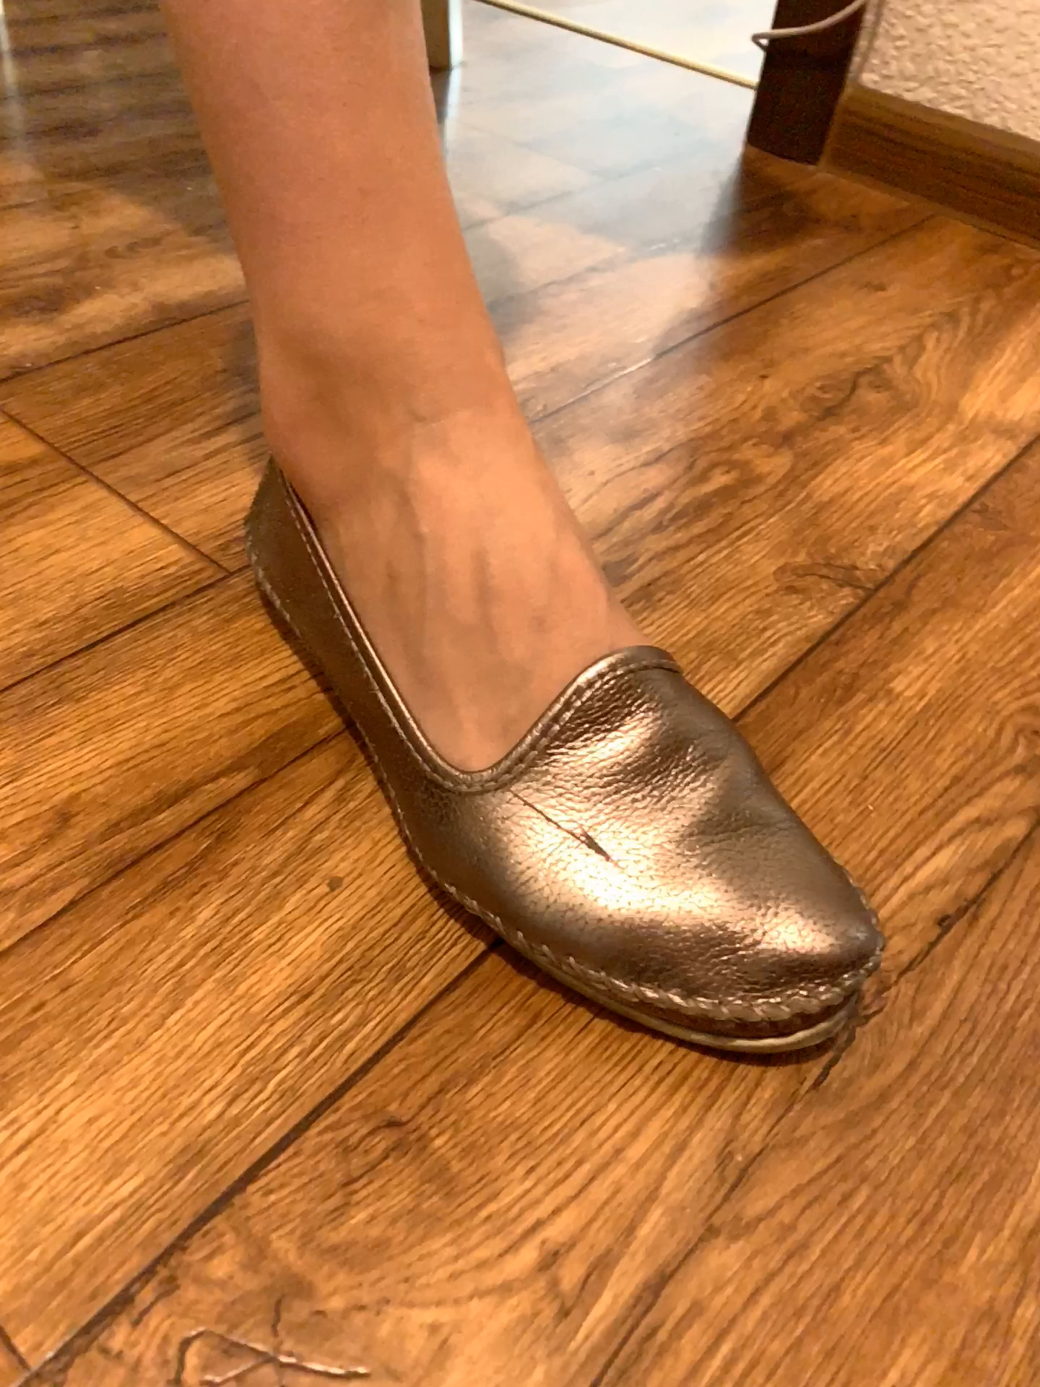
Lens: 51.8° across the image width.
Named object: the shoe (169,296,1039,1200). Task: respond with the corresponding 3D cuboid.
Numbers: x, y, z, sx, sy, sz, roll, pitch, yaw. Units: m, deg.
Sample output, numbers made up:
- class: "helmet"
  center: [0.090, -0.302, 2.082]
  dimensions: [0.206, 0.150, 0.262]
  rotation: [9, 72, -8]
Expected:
- class: "shoe"
  center: [0.005, -0.004, 0.289]
  dimensions: [0.095, 0.070, 0.231]
  rotation: [-25, 61, -29]
